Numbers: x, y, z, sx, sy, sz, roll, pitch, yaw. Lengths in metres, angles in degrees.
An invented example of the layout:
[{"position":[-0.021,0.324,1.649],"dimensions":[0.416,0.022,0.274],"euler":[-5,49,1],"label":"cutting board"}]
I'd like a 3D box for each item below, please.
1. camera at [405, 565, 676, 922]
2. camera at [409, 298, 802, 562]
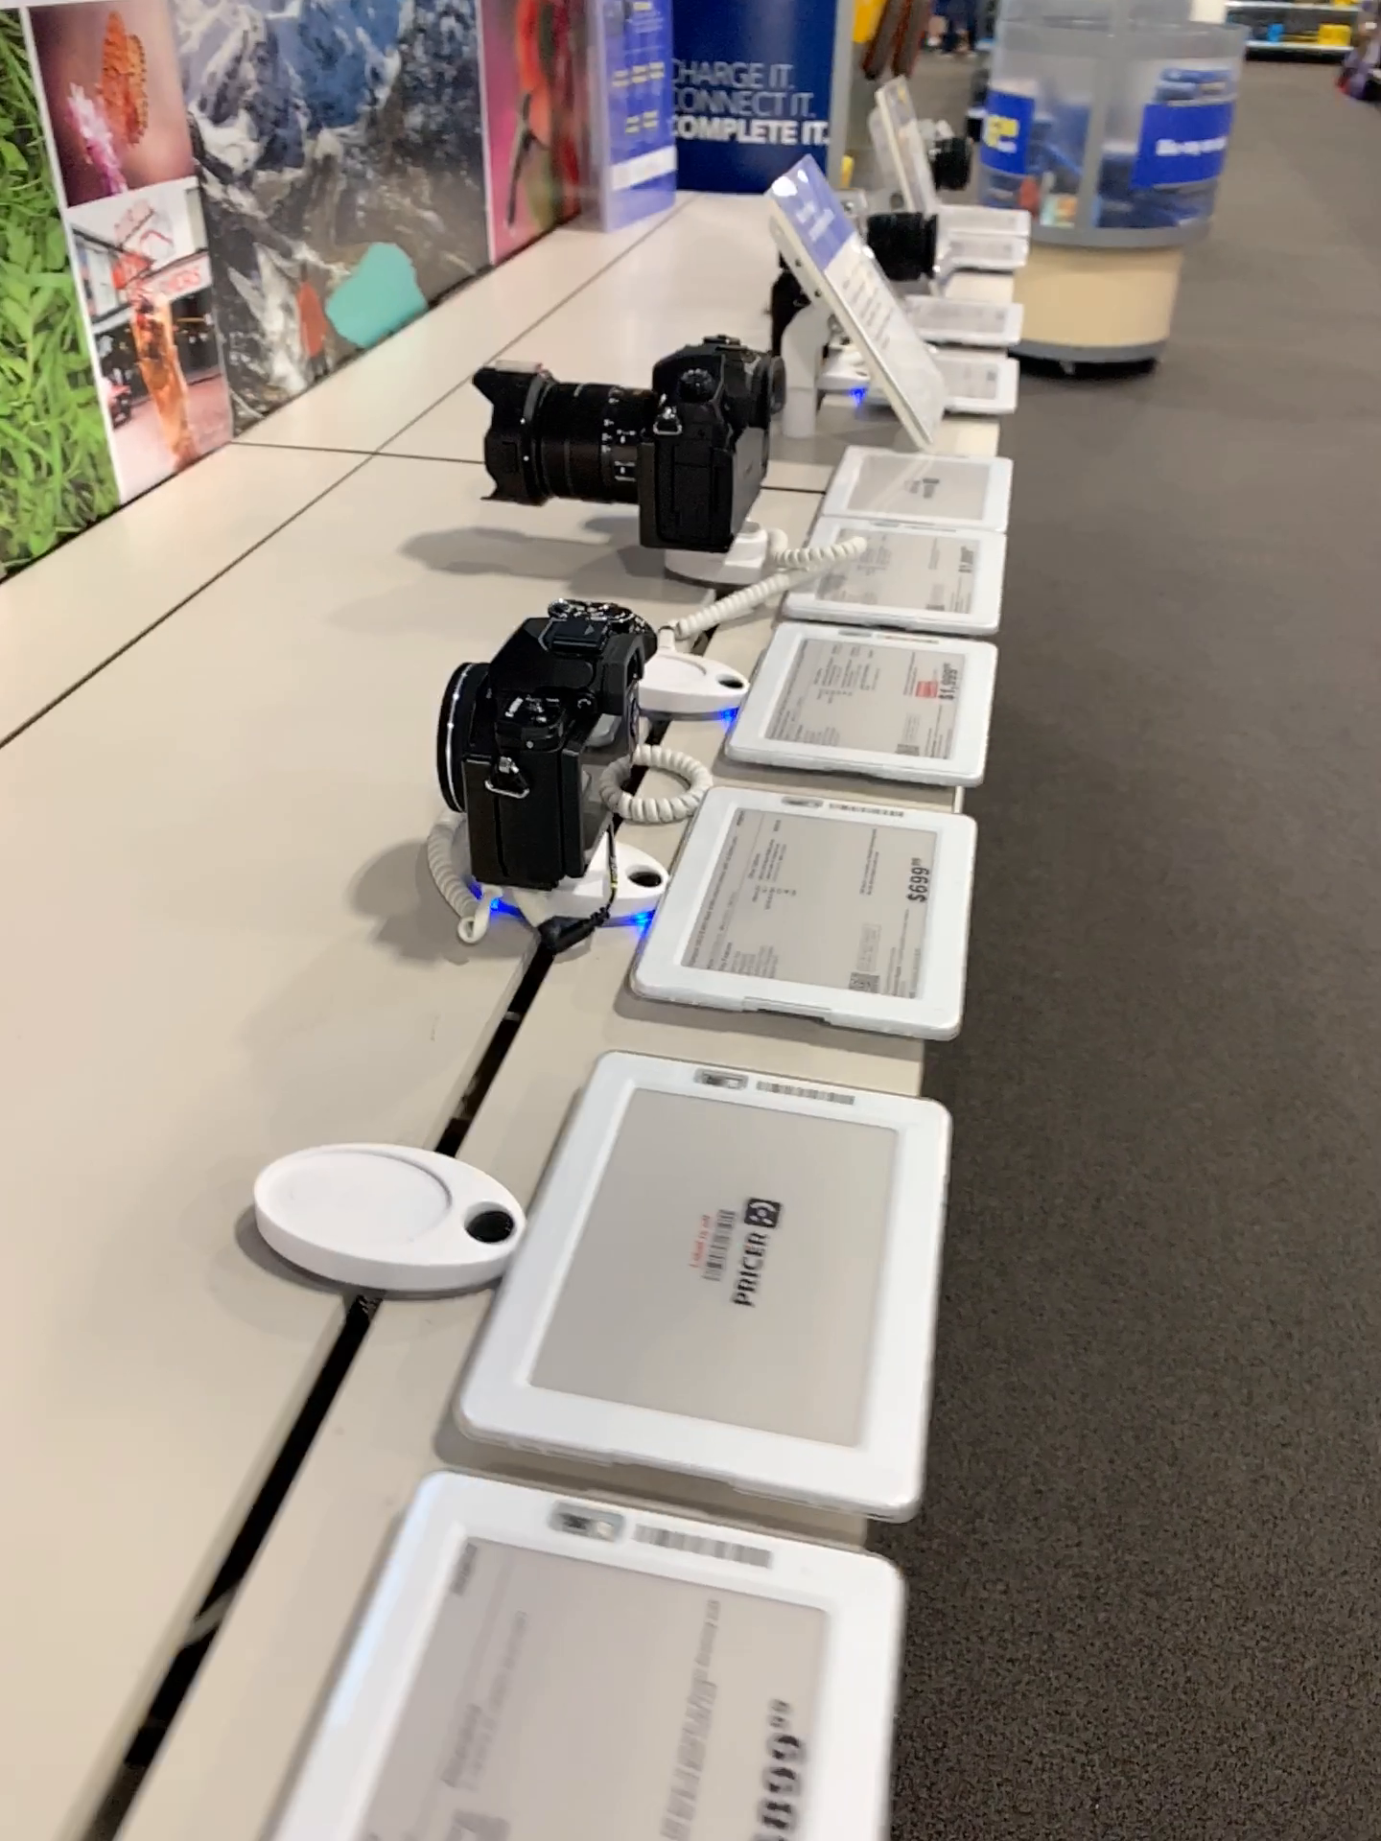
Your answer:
[{"position":[-0.052,-0.073,0.555],"dimensions":[0.070,0.079,0.131],"euler":[7,37,8],"label":"camera"},{"position":[-0.044,-0.296,0.846],"dimensions":[0.200,0.099,0.141],"euler":[7,37,8],"label":"camera"}]
